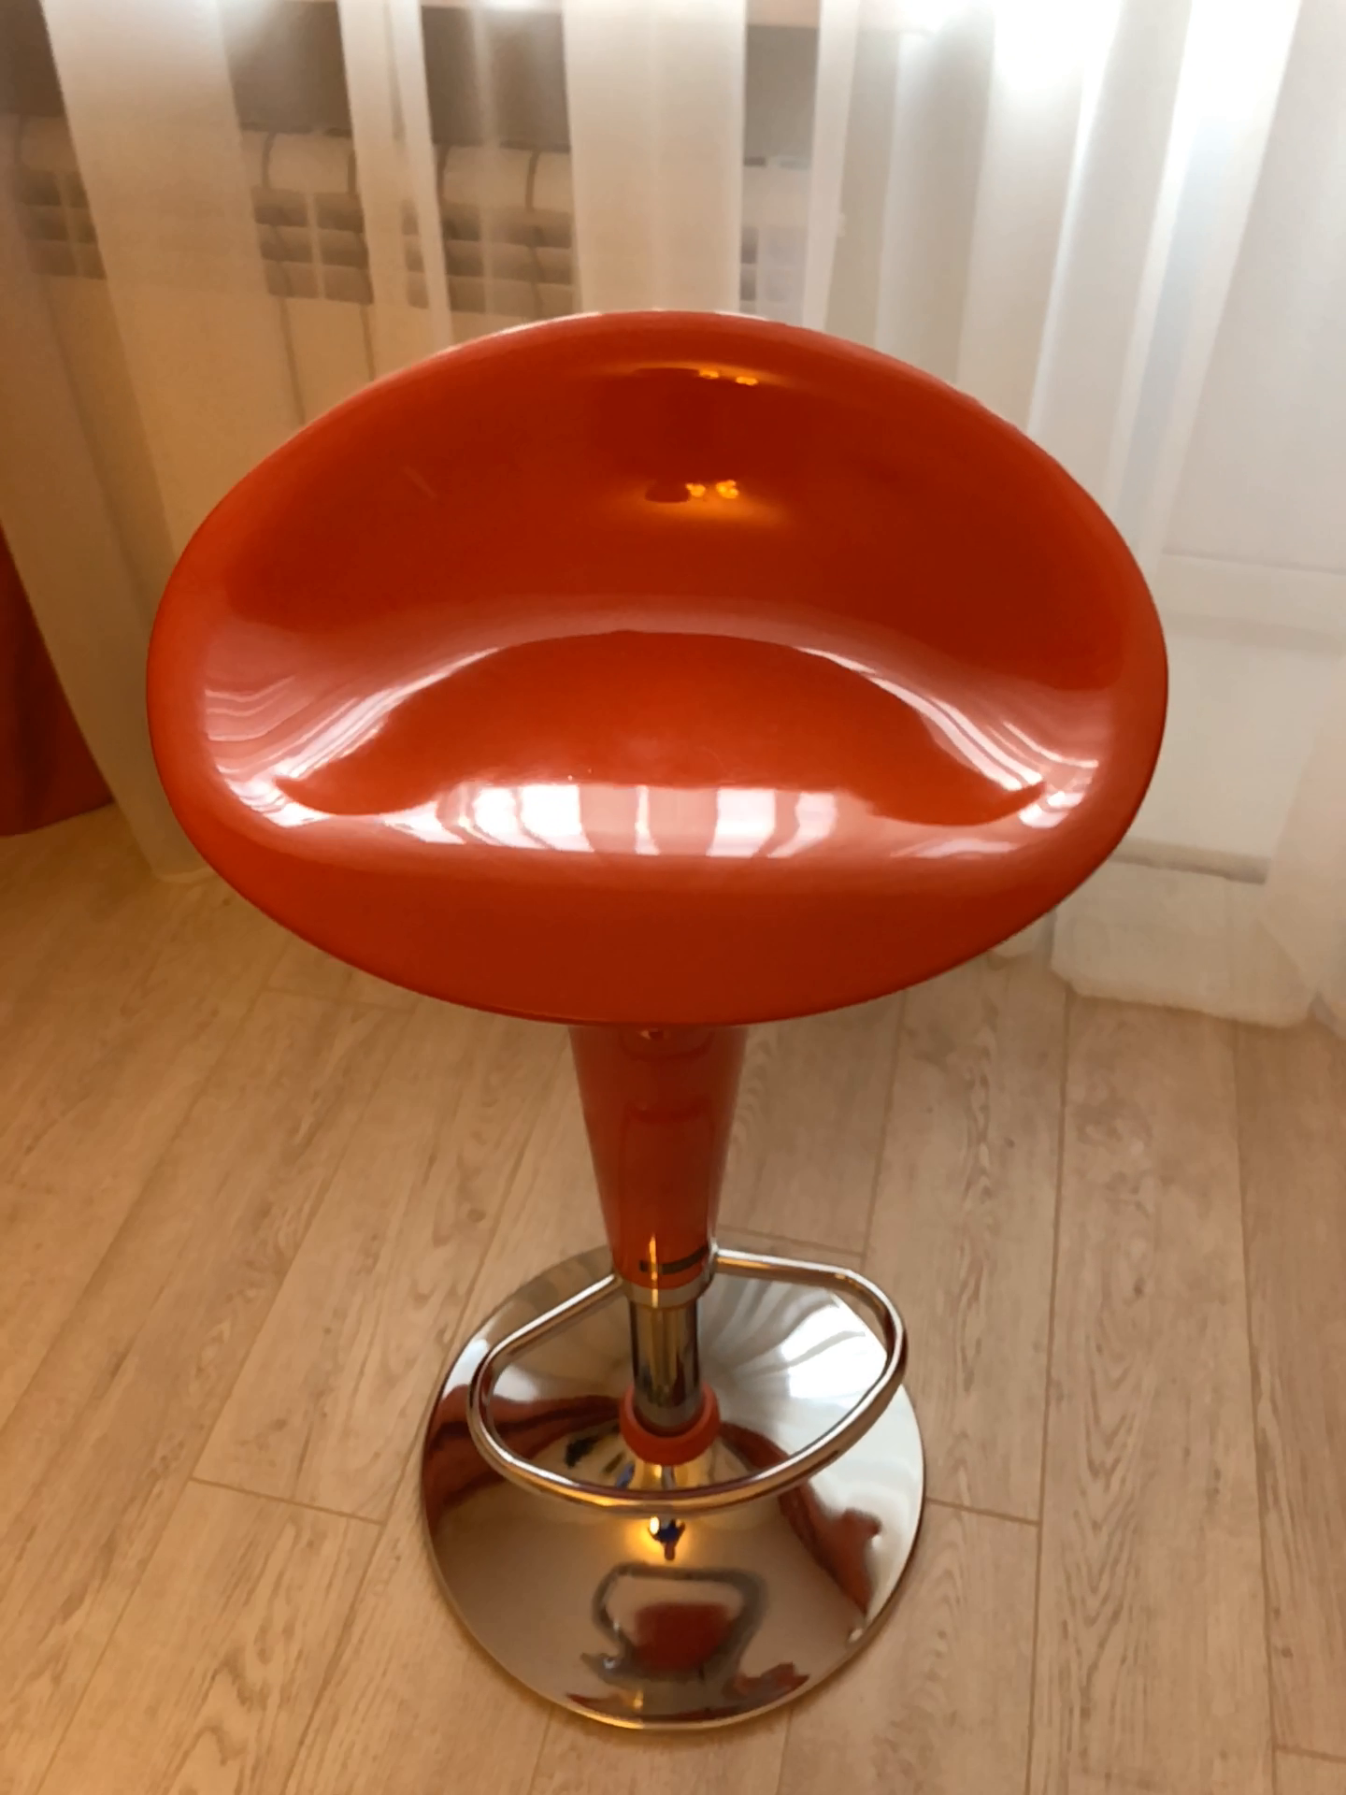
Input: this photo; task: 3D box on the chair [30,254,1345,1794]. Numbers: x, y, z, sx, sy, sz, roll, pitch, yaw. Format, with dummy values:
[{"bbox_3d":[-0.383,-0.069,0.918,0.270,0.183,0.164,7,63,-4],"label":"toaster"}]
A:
[{"bbox_3d":[-0.020,0.117,0.815,0.411,0.725,0.422,-14,45,-15],"label":"chair"}]
